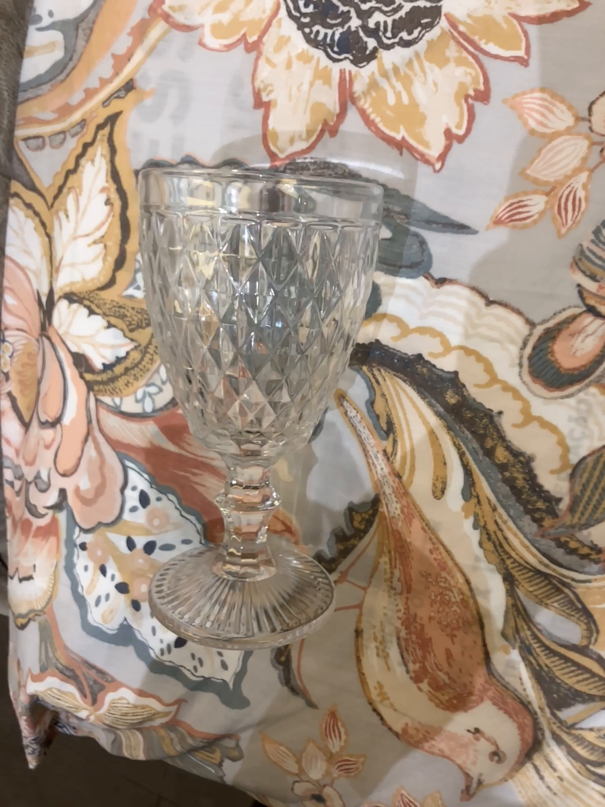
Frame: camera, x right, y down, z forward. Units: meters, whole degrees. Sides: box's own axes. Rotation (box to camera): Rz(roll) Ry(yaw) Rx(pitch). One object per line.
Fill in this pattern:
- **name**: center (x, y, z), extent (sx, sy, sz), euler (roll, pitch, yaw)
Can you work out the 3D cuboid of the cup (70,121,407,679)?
- **cup**: center (-0.022, -0.006, 0.255), extent (0.090, 0.080, 0.170), euler (9, 102, 16)
